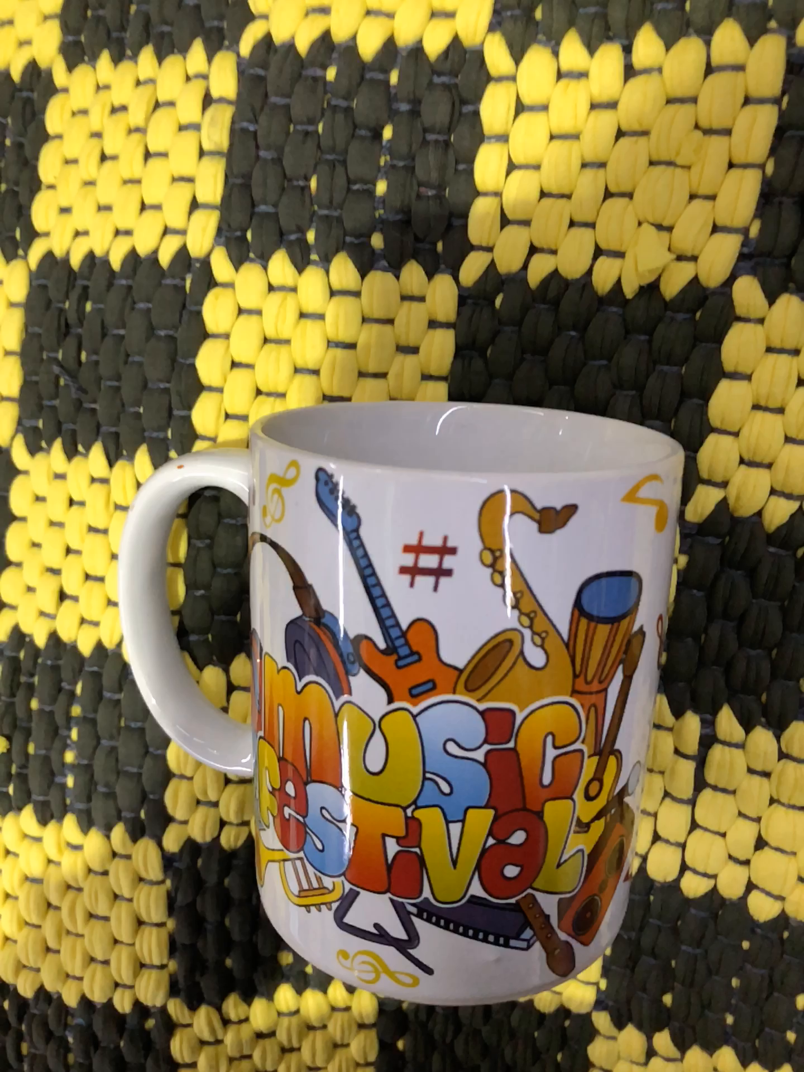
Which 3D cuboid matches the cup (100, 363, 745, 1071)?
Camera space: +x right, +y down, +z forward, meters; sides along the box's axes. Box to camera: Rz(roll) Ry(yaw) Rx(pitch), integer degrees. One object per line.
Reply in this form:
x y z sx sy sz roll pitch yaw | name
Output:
0.000 0.020 0.182 0.100 0.070 0.100 11 107 39 | cup
